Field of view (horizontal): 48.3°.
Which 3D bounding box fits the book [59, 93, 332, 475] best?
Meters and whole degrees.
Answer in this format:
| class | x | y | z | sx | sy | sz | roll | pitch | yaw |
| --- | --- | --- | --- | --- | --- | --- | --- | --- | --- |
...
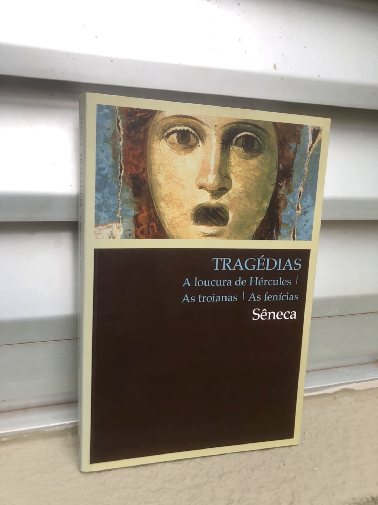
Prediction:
| class | x | y | z | sx | sy | sz | roll | pitch | yaw |
| --- | --- | --- | --- | --- | --- | --- | --- | --- | --- |
| book | 0.003 | 0.019 | 0.242 | 0.144 | 0.197 | 0.026 | 0 | 8 | -13 |
